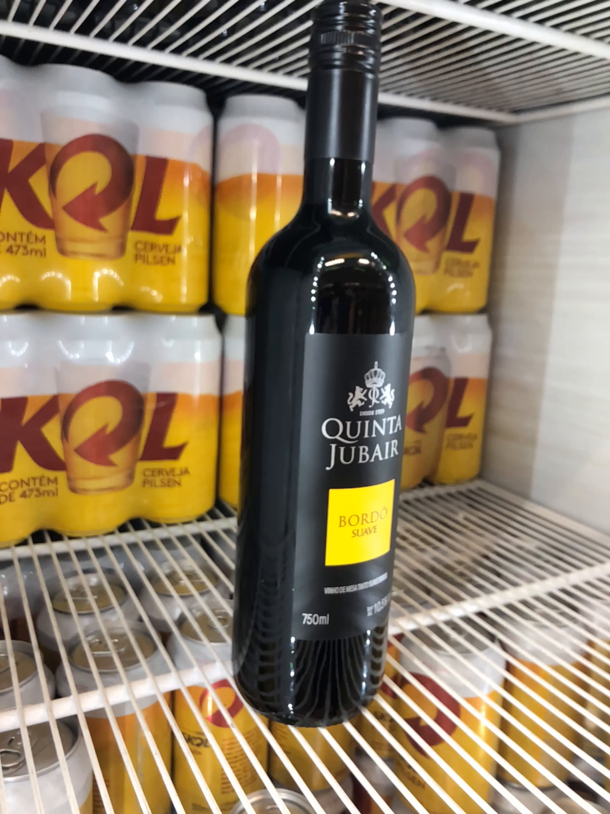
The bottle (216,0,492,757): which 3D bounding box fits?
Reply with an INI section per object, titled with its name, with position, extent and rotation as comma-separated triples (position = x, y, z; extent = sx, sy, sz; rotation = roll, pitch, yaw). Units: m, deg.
[bottle]
position = 0.013, -0.016, 0.290
extent = 0.080, 0.289, 0.070
rotation = -5, 12, -30
